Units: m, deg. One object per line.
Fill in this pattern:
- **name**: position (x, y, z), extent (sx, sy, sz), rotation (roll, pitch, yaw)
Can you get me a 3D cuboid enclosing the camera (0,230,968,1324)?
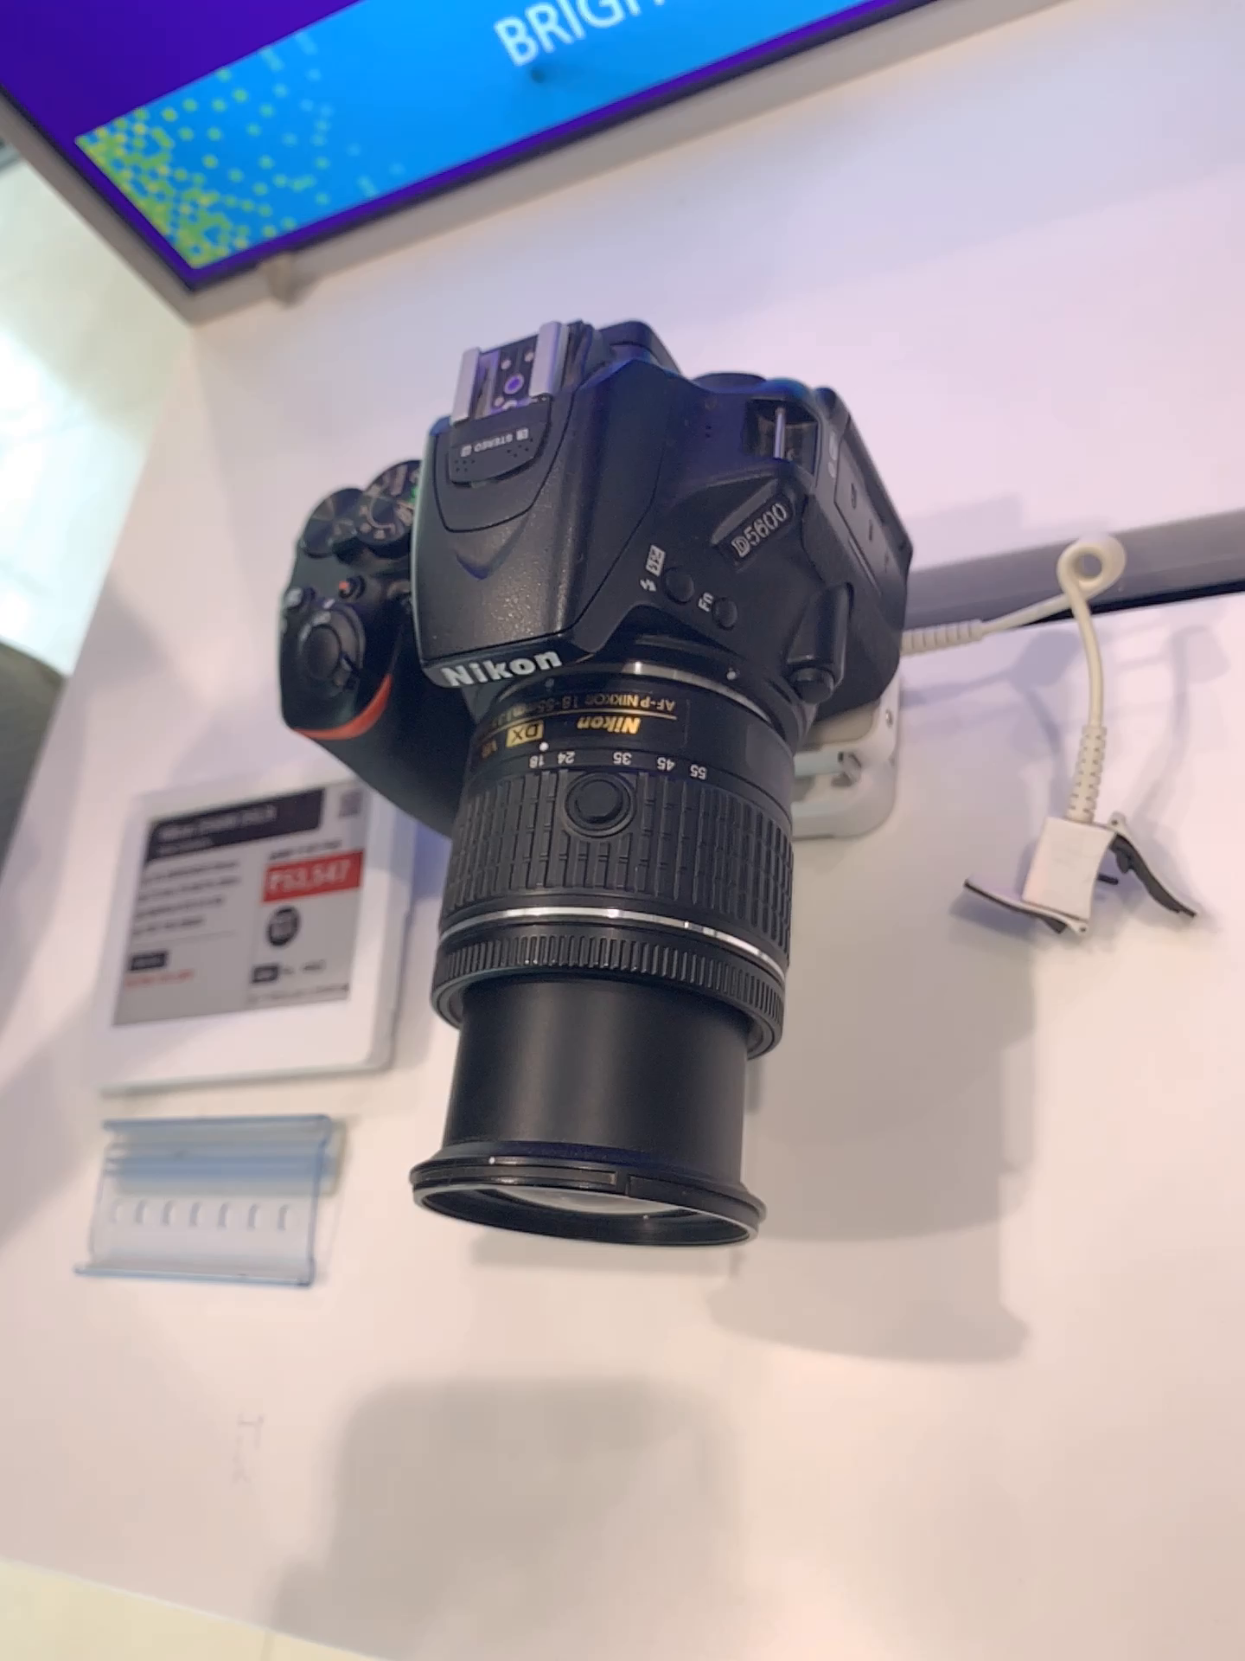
- **camera**: position (-0.015, 0.004, 0.228), extent (0.117, 0.100, 0.141), rotation (-10, 59, 27)
